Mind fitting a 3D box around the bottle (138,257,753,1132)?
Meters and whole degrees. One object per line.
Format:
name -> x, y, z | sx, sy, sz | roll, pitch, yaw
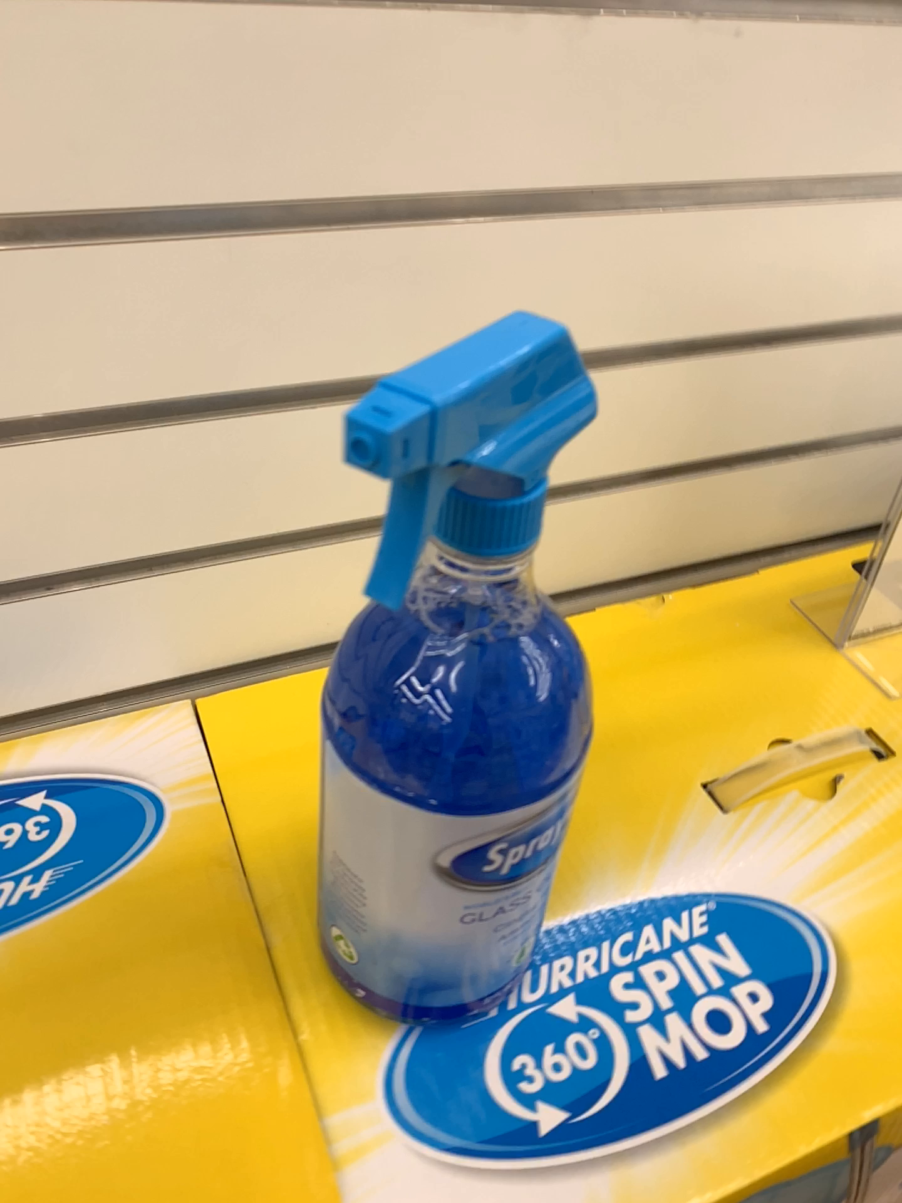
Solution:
bottle -> -0.007, 0.038, 0.286 | 0.090, 0.239, 0.110 | 34, 46, 31
